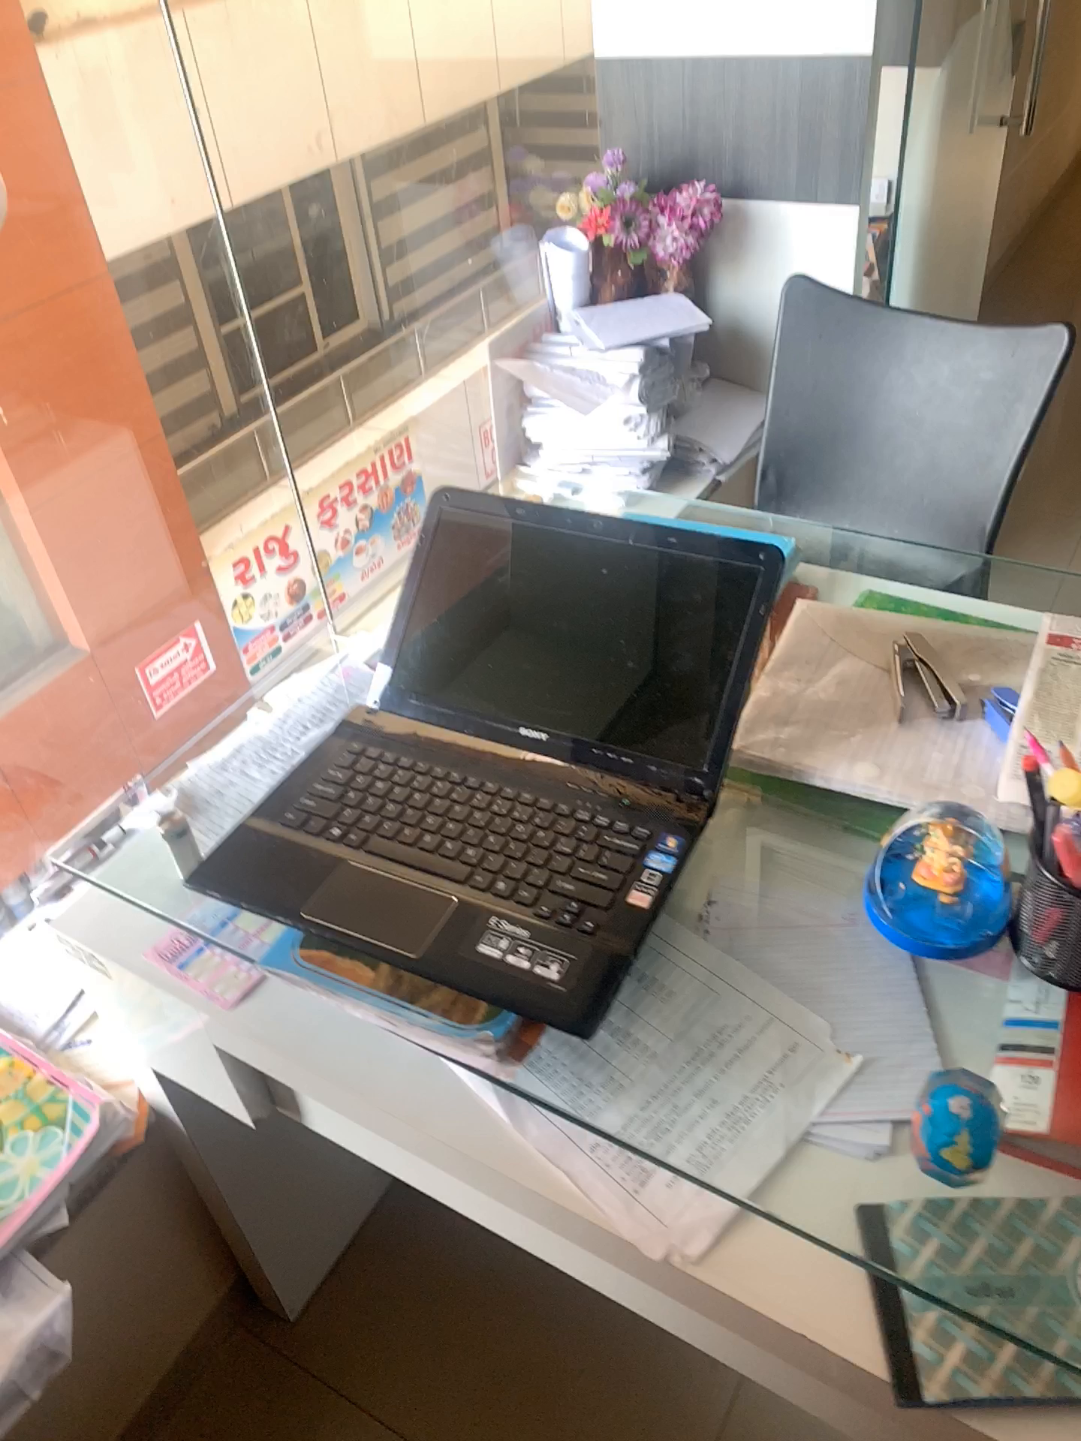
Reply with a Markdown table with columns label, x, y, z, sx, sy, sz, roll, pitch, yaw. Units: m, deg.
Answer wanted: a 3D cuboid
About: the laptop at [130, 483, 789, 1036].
| label | x | y | z | sx | sy | sz | roll | pitch | yaw |
| --- | --- | --- | --- | --- | --- | --- | --- | --- | --- |
| laptop | -0.028 | -0.009 | 0.721 | 0.286 | 0.111 | 0.337 | 15 | 43 | 24 |
